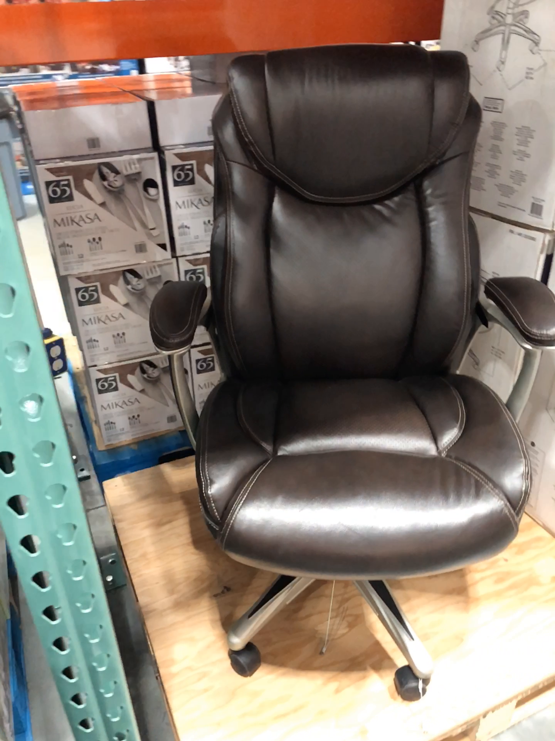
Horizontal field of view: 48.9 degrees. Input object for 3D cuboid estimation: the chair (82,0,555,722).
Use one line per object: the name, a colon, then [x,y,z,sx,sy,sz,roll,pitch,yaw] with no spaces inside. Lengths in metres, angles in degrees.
chair: [0.129,-0.053,1.159,0.660,1.095,0.723,-4,30,-4]
